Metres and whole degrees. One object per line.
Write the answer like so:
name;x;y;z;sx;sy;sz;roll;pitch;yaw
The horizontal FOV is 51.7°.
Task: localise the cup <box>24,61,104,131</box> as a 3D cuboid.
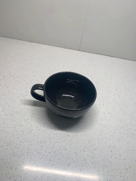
cup;-0.004;0.007;0.287;0.130;0.060;0.110;10;46;-1
